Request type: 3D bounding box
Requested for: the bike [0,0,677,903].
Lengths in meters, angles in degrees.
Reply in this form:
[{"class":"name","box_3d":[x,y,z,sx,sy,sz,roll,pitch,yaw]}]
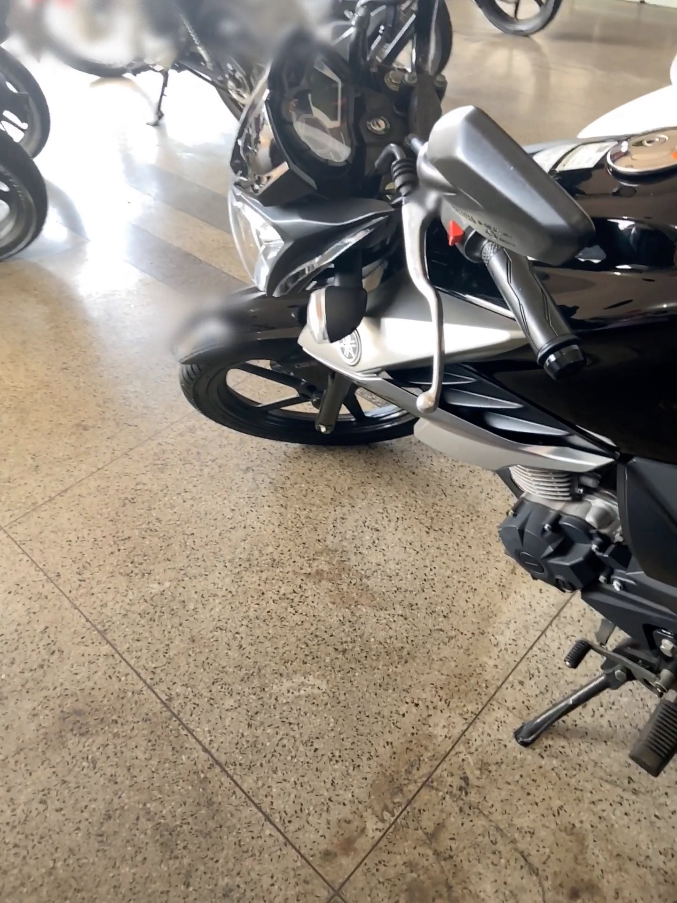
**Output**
[{"class":"bike","box_3d":[0.387,0.160,0.782,2.005,1.331,0.818,26,52,28]}]
